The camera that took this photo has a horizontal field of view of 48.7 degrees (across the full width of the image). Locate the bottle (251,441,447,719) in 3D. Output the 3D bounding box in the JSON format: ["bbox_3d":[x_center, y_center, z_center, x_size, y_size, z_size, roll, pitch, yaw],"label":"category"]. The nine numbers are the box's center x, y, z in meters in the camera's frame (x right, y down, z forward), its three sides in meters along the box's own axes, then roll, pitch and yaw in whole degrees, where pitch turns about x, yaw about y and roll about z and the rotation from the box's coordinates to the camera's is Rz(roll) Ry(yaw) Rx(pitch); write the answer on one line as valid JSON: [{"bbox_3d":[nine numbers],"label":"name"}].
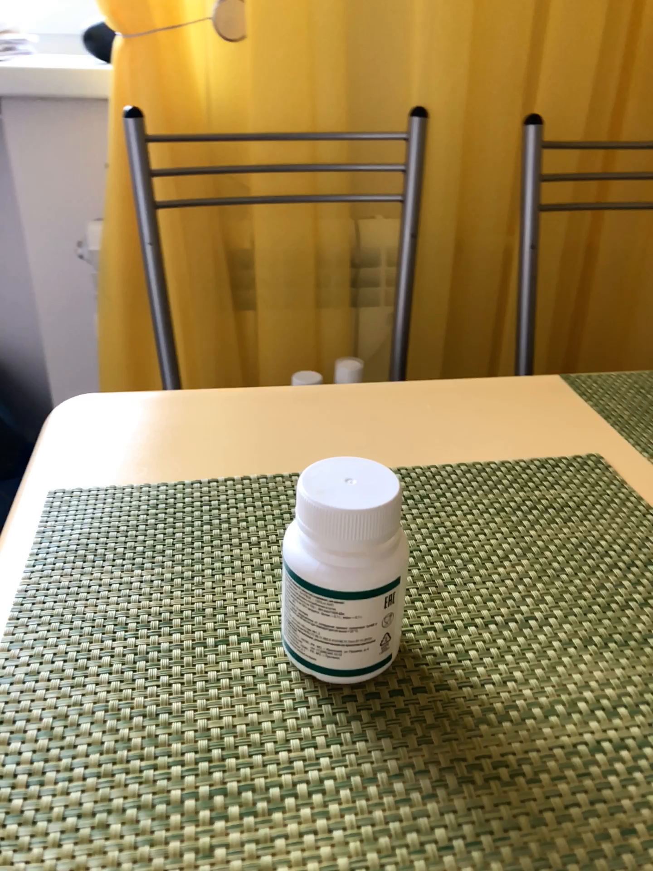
[{"bbox_3d":[0.008,0.049,0.258,0.050,0.070,0.050,2,29,-1],"label":"bottle"}]
